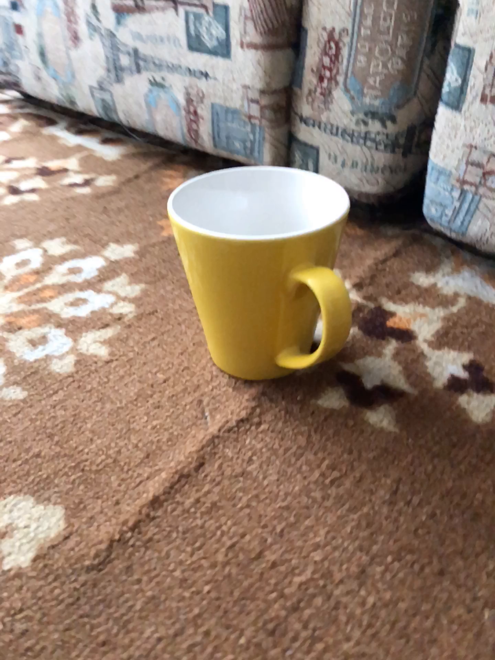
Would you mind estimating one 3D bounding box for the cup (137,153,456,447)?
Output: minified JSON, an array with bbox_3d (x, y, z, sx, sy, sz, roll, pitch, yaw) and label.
[{"bbox_3d":[0.021,-0.027,0.293,0.097,0.088,0.125,-27,42,-33],"label":"cup"}]
